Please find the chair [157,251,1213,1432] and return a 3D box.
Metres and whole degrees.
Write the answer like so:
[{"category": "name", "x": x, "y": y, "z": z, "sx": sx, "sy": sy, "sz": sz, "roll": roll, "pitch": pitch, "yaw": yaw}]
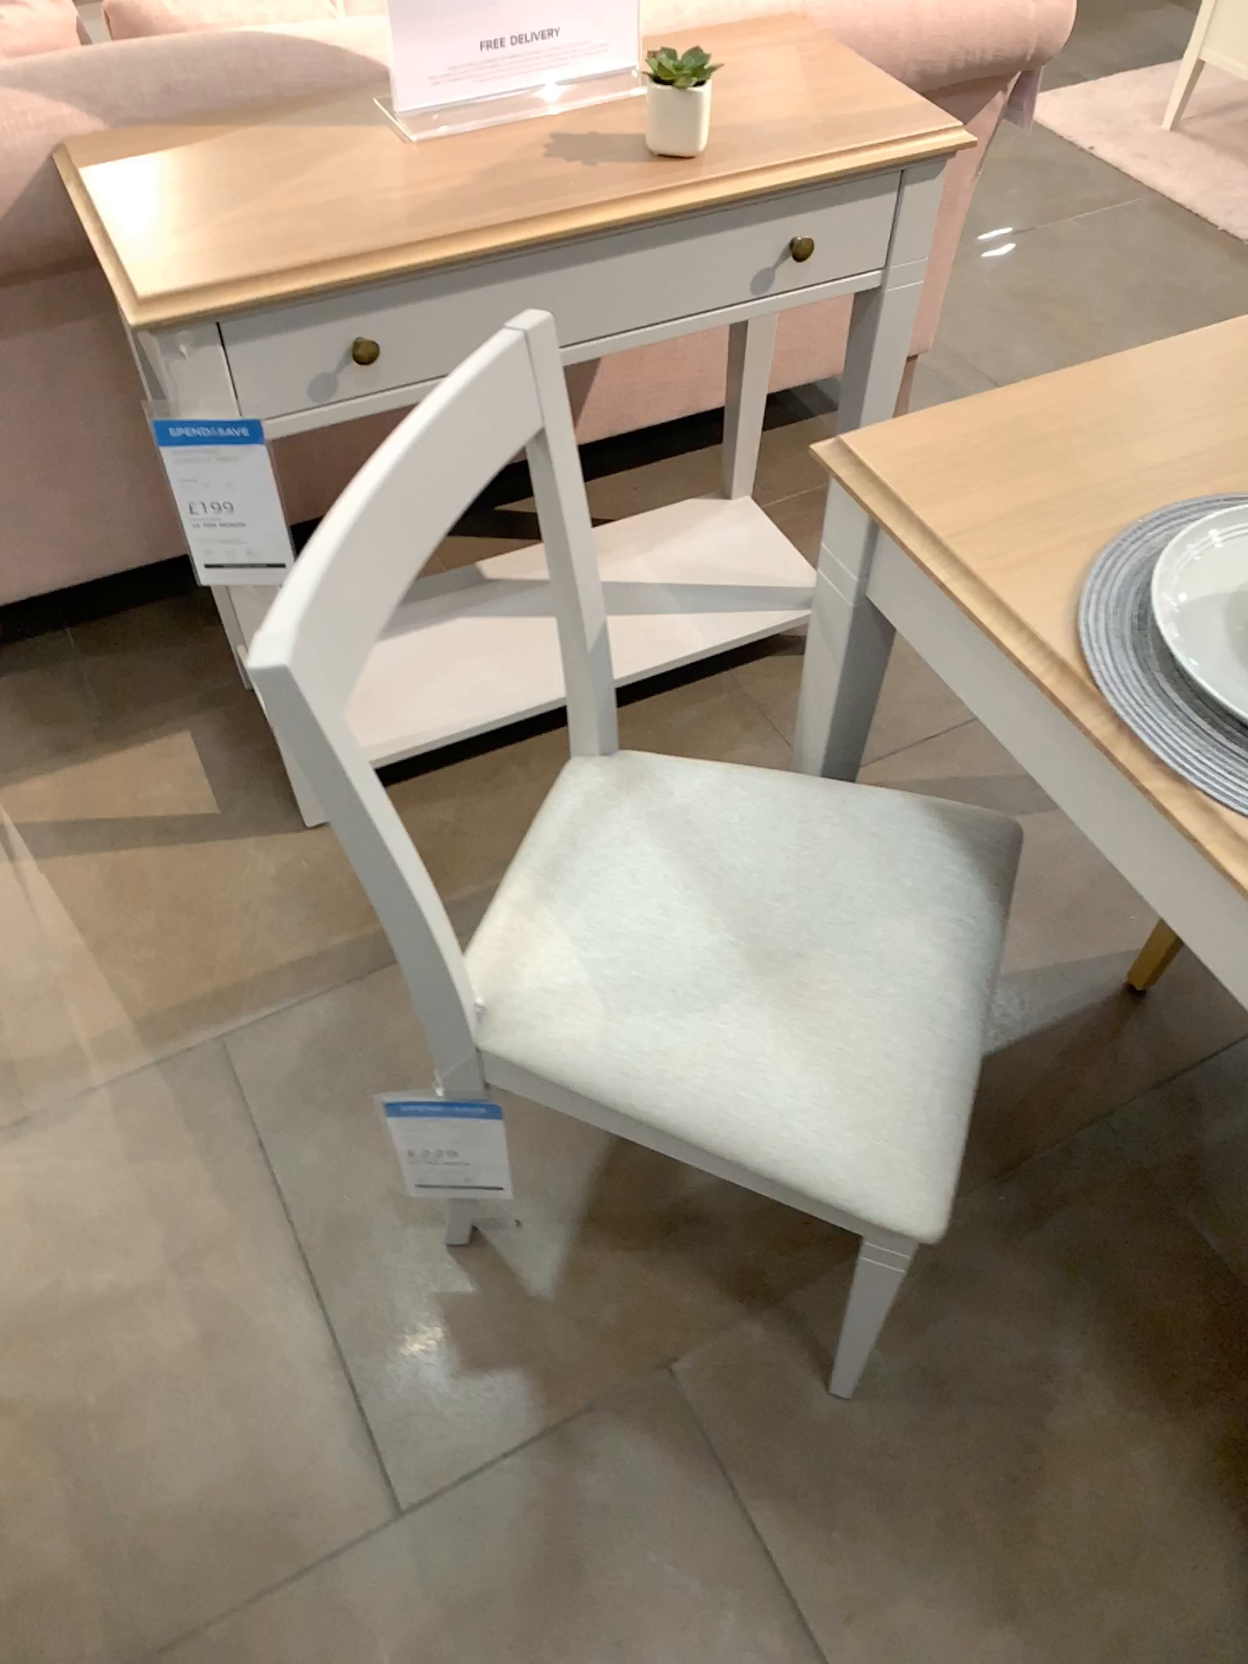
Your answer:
[{"category": "chair", "x": 0.066, "y": 0.066, "z": 1.079, "sx": 0.508, "sy": 0.832, "sz": 0.464, "roll": 17, "pitch": 52, "yaw": 13}]
